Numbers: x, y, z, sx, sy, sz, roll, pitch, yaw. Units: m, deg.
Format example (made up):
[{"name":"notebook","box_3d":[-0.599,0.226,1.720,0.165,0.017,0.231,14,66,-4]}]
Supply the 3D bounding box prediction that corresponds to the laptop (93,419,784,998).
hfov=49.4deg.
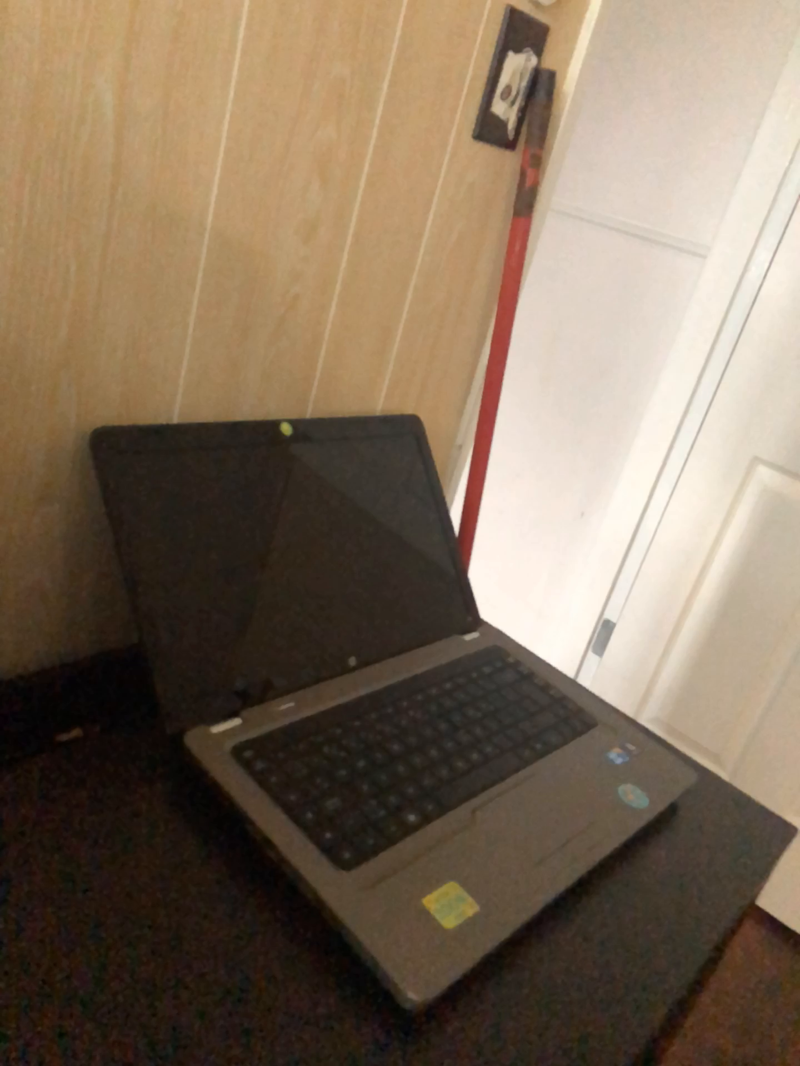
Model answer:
[{"name":"laptop","box_3d":[0.025,0.072,0.706,0.402,0.166,0.357,34,29,34]}]
